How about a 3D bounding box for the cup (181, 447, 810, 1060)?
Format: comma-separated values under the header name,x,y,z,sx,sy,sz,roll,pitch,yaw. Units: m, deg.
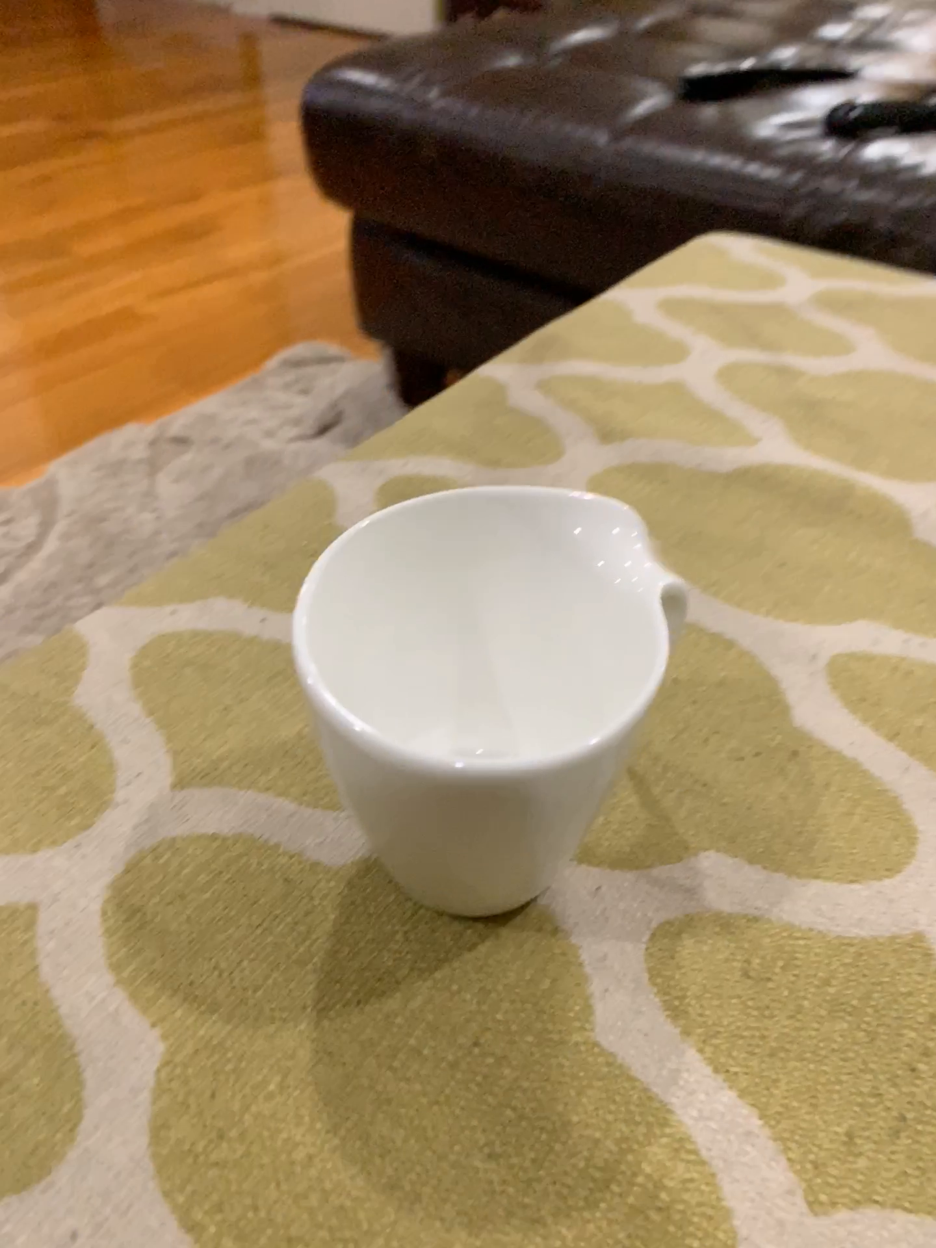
name,x,y,z,sx,sy,sz,roll,pitch,yaw
cup,0.002,0.024,0.238,0.109,0.079,0.089,-18,44,-22
